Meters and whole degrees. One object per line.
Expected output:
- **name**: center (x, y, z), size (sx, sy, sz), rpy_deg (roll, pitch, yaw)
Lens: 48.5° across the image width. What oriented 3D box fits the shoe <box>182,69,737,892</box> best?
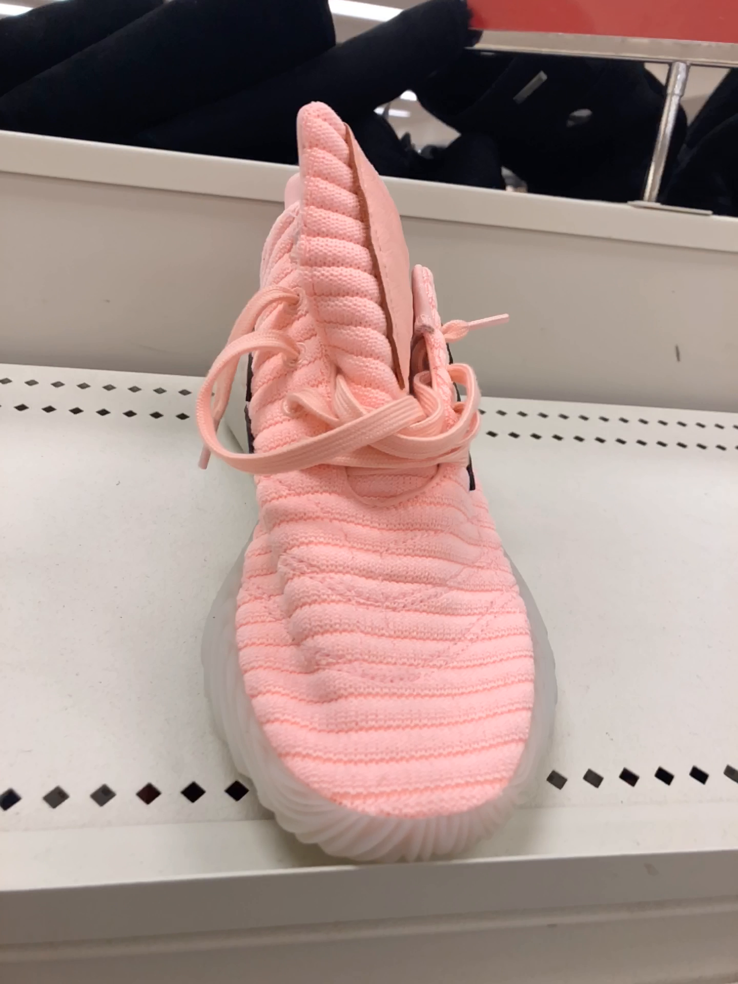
- **shoe**: center (0.006, -0.049, 0.315), size (0.120, 0.169, 0.323), rpy_deg (3, 30, -8)
